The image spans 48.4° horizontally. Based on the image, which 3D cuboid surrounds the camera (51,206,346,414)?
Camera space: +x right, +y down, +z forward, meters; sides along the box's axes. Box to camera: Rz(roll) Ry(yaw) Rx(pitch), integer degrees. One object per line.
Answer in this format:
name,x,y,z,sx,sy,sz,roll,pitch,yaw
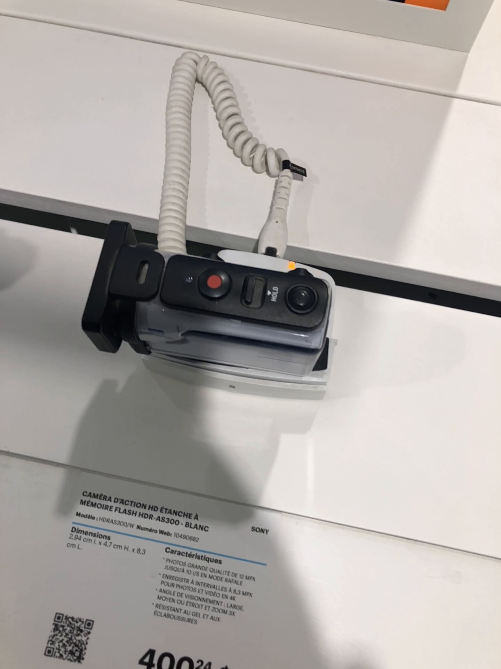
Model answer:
camera,-0.017,-0.007,0.212,0.093,0.044,0.049,11,68,3
